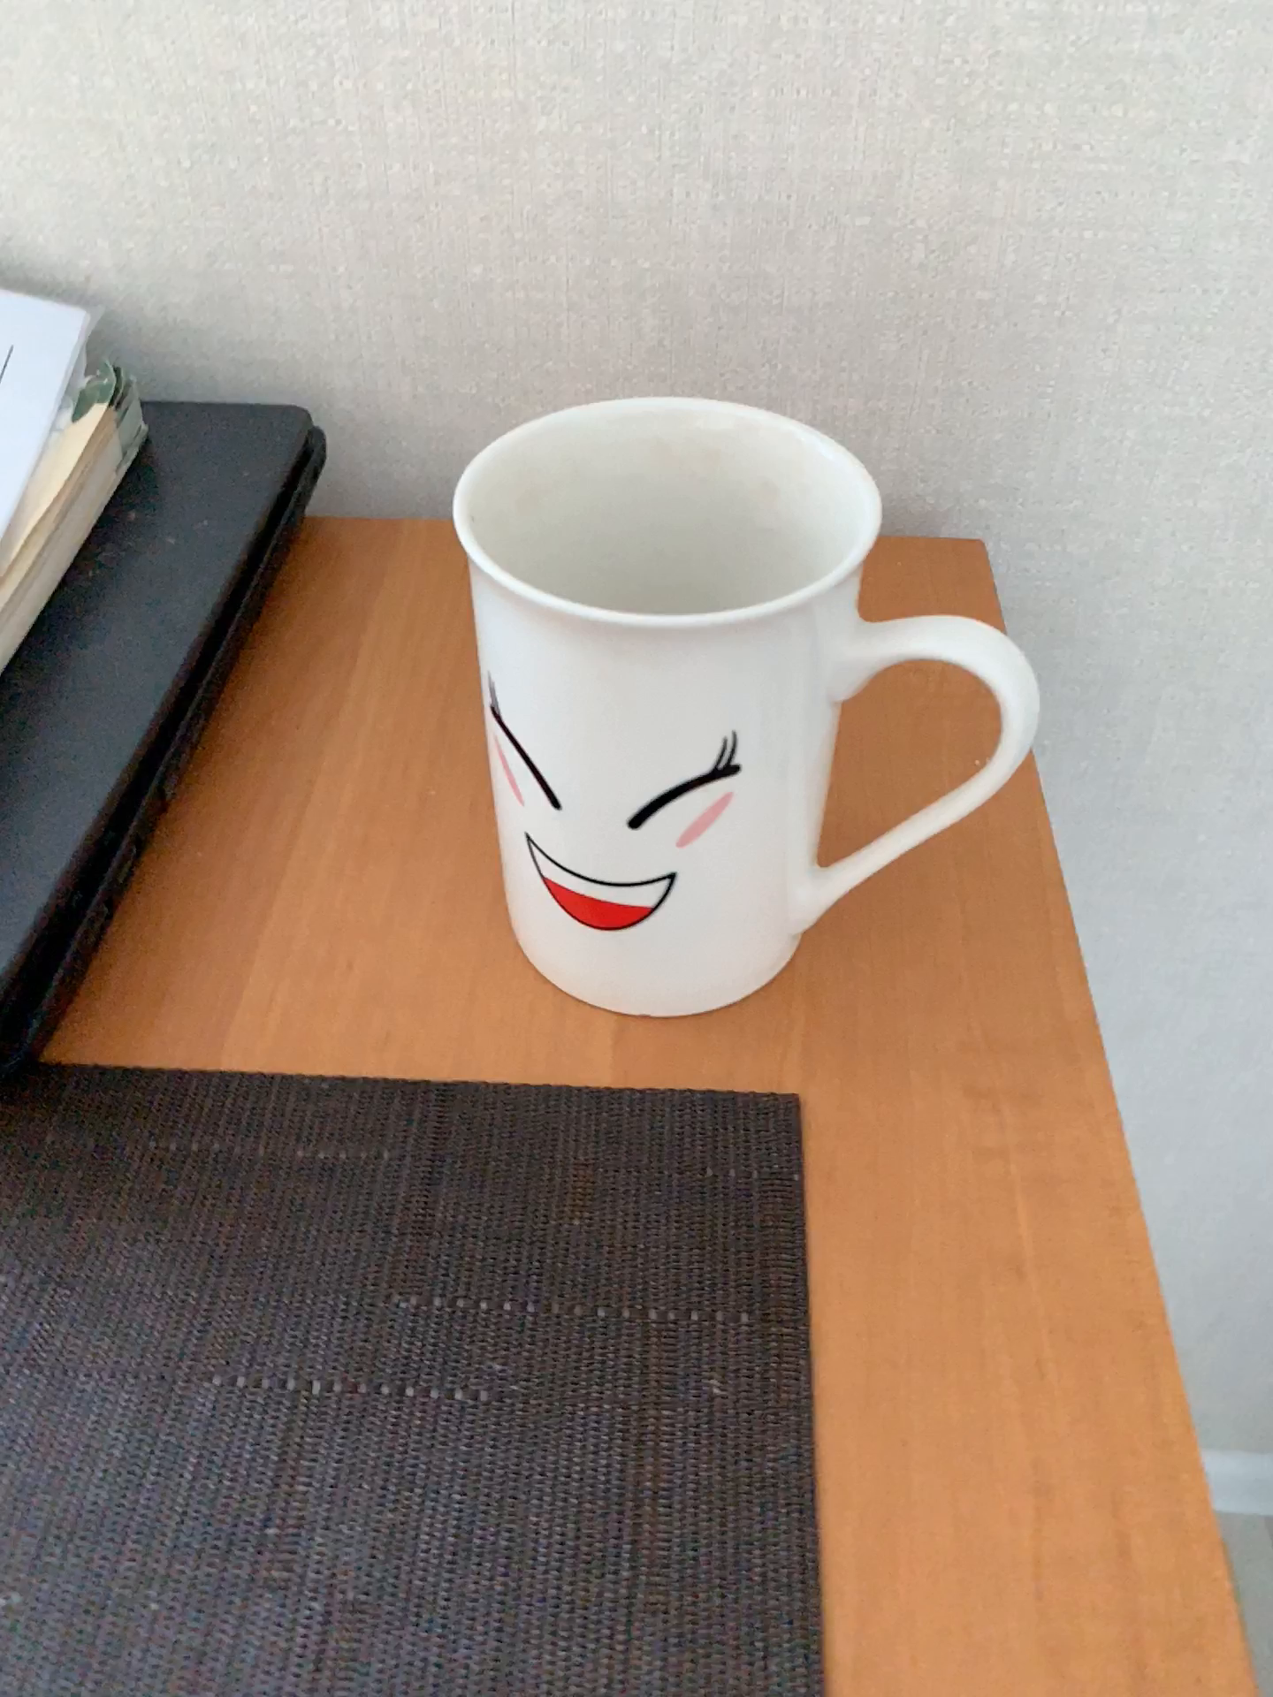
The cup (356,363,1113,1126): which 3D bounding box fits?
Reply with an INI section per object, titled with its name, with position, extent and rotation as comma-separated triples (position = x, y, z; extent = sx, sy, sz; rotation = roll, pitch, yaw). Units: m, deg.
[cup]
position = 0.019, -0.023, 0.253
extent = 0.107, 0.095, 0.080
rotation = 16, 45, 16
